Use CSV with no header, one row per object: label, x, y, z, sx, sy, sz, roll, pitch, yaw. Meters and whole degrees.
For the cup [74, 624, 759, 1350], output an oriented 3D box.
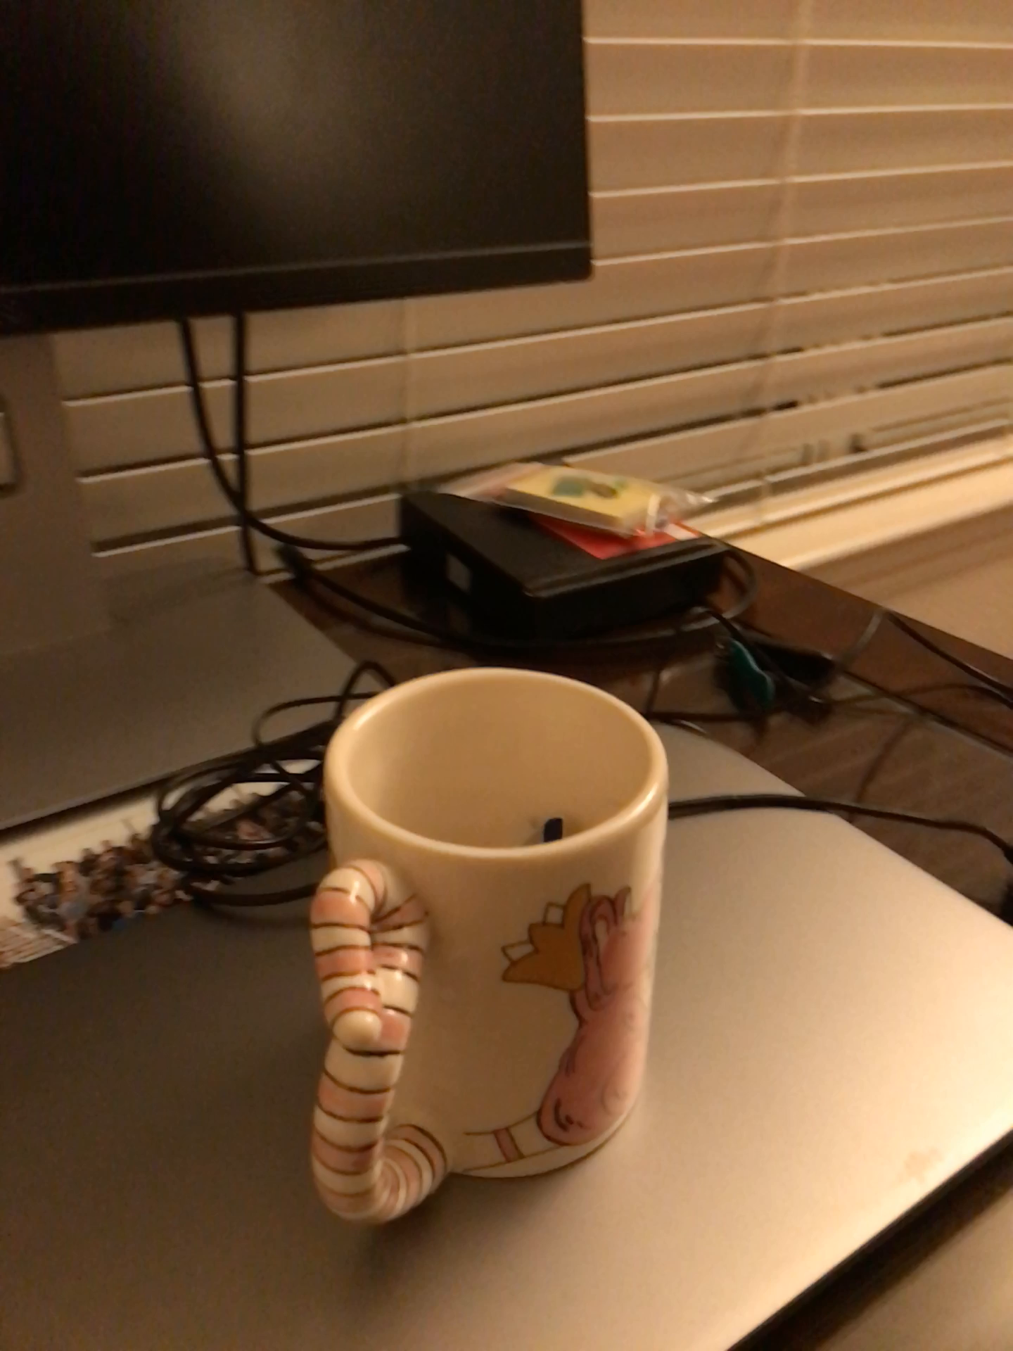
cup,-0.010,0.066,0.255,0.080,0.099,0.131,17,32,31
